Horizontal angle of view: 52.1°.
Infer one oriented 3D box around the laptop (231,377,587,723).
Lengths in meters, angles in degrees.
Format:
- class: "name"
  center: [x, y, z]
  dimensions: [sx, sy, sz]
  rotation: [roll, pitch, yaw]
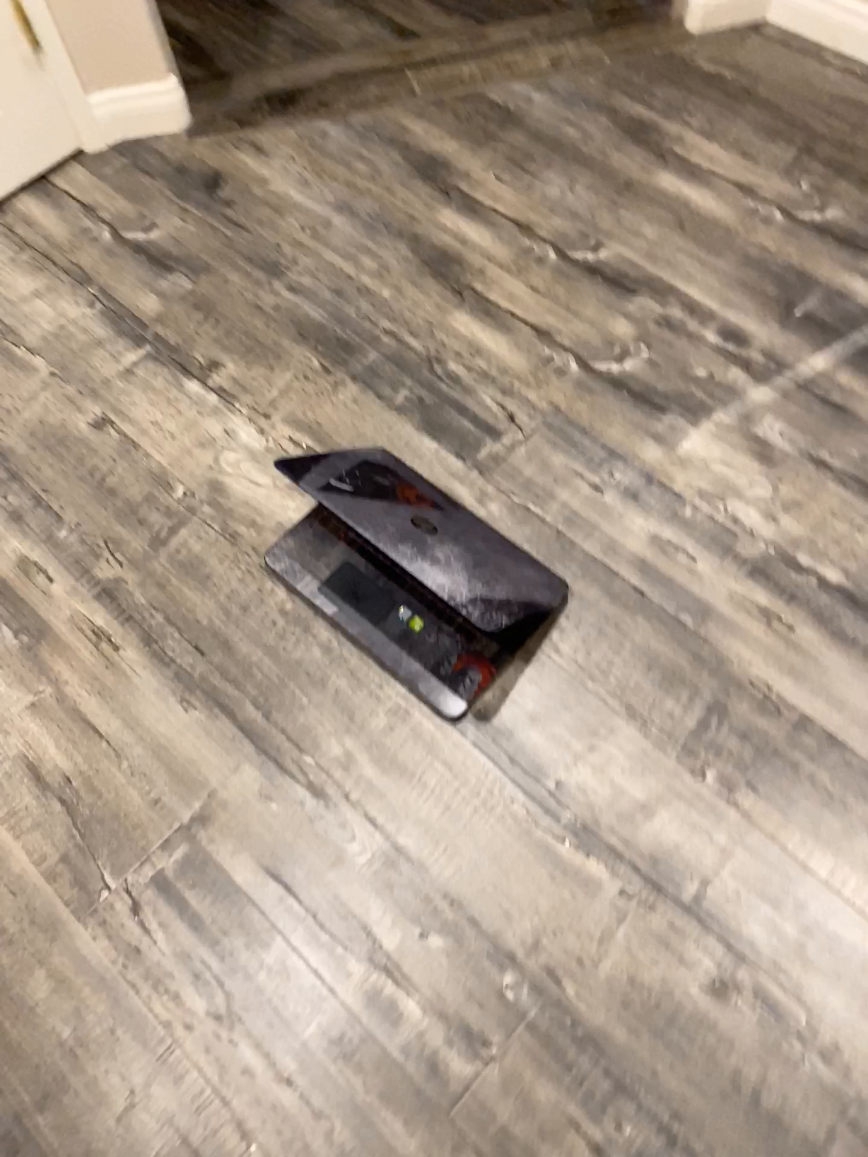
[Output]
- class: "laptop"
  center: [-0.032, -0.042, 1.186]
  dimensions: [0.374, 0.177, 0.250]
  rotation: [38, 71, 20]
